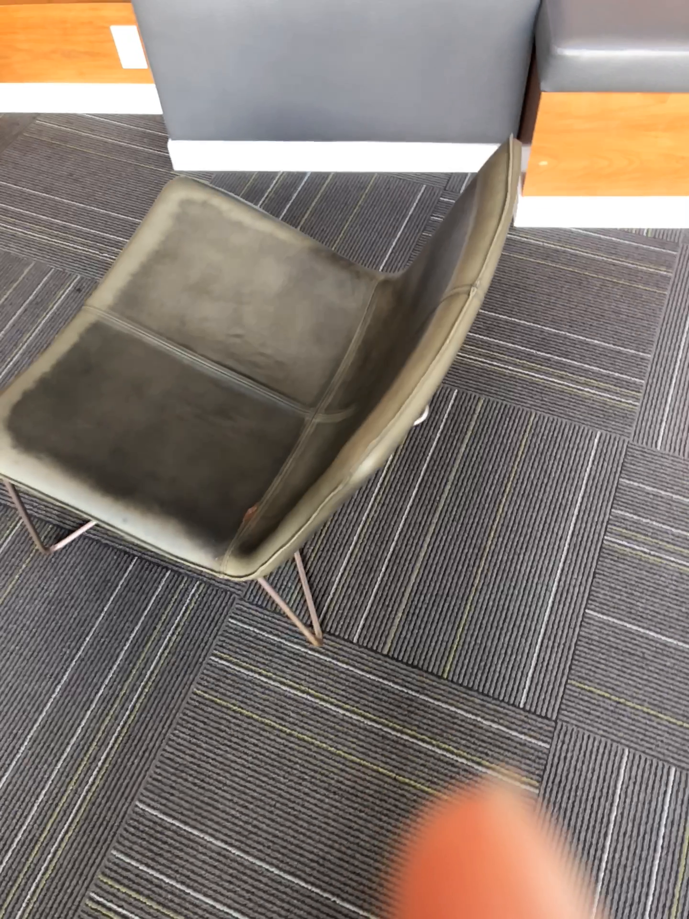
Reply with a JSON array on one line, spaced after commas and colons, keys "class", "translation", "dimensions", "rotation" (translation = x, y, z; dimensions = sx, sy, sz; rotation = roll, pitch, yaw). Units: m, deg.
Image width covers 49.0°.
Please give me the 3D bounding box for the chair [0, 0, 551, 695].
[{"class": "chair", "translation": [-0.197, -0.166, 1.220], "dimensions": [0.650, 0.878, 0.671], "rotation": [22, 61, 8]}]
